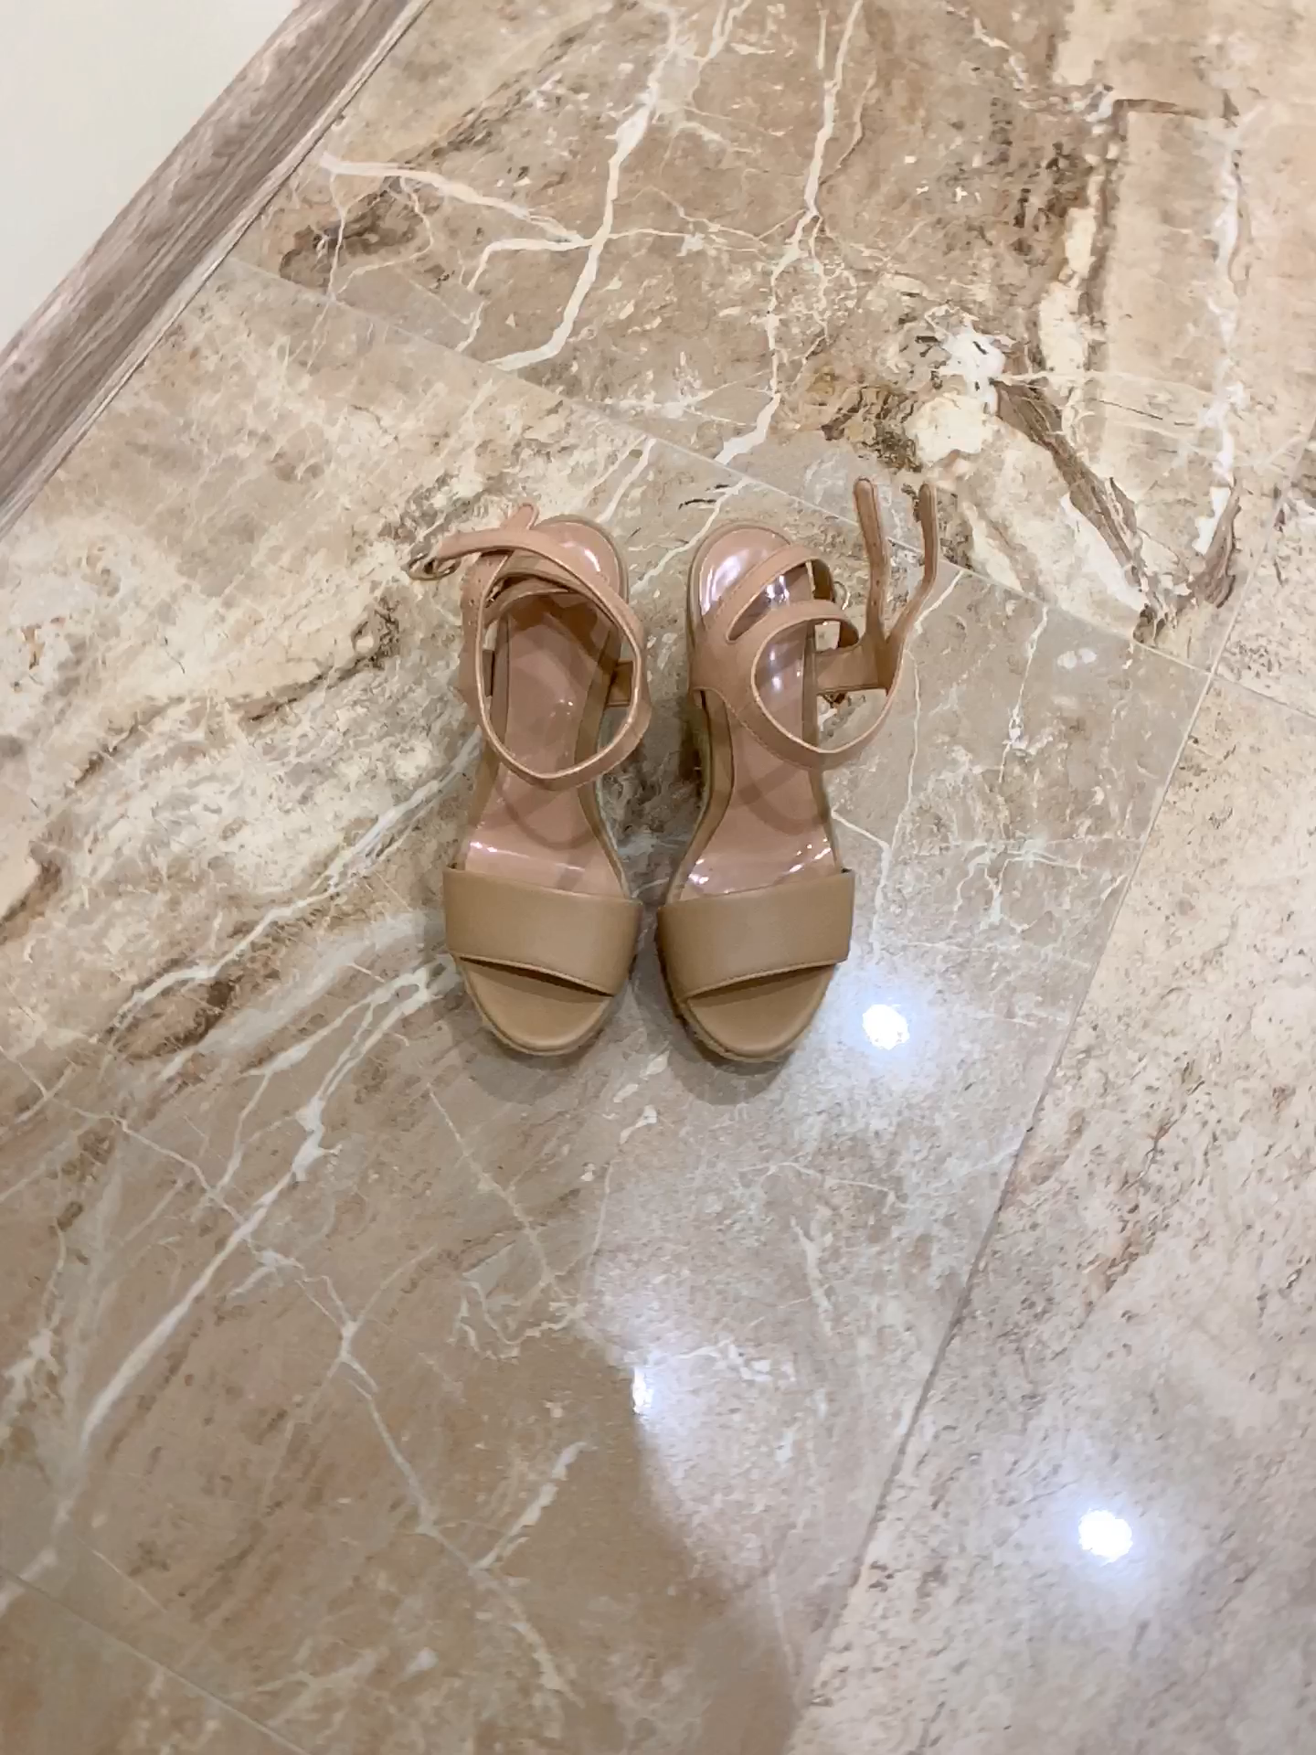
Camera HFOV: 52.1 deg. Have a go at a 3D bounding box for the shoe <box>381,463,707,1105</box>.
[{"bbox_3d":[-0.038,-0.030,0.548,0.090,0.150,0.210,6,69,0],"label":"shoe"}]

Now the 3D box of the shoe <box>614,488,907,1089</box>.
[{"bbox_3d":[0.032,-0.032,0.558,0.090,0.130,0.210,-3,69,-3],"label":"shoe"}]
